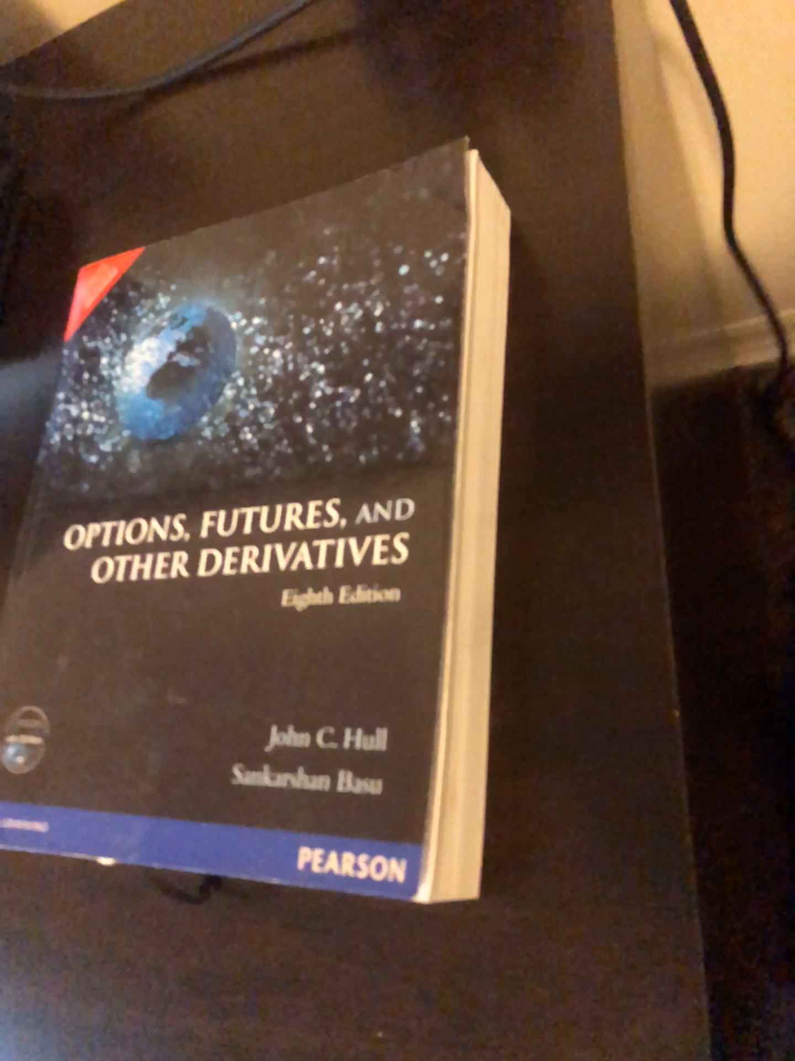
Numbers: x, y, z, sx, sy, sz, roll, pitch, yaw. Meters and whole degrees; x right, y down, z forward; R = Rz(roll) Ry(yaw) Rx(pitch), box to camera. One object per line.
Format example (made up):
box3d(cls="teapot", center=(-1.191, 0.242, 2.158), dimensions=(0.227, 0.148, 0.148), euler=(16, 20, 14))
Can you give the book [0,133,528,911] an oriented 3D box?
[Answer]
box3d(cls="book", center=(-0.060, -0.006, 0.344), dimensions=(0.208, 0.050, 0.261), euler=(-5, 69, 27))
